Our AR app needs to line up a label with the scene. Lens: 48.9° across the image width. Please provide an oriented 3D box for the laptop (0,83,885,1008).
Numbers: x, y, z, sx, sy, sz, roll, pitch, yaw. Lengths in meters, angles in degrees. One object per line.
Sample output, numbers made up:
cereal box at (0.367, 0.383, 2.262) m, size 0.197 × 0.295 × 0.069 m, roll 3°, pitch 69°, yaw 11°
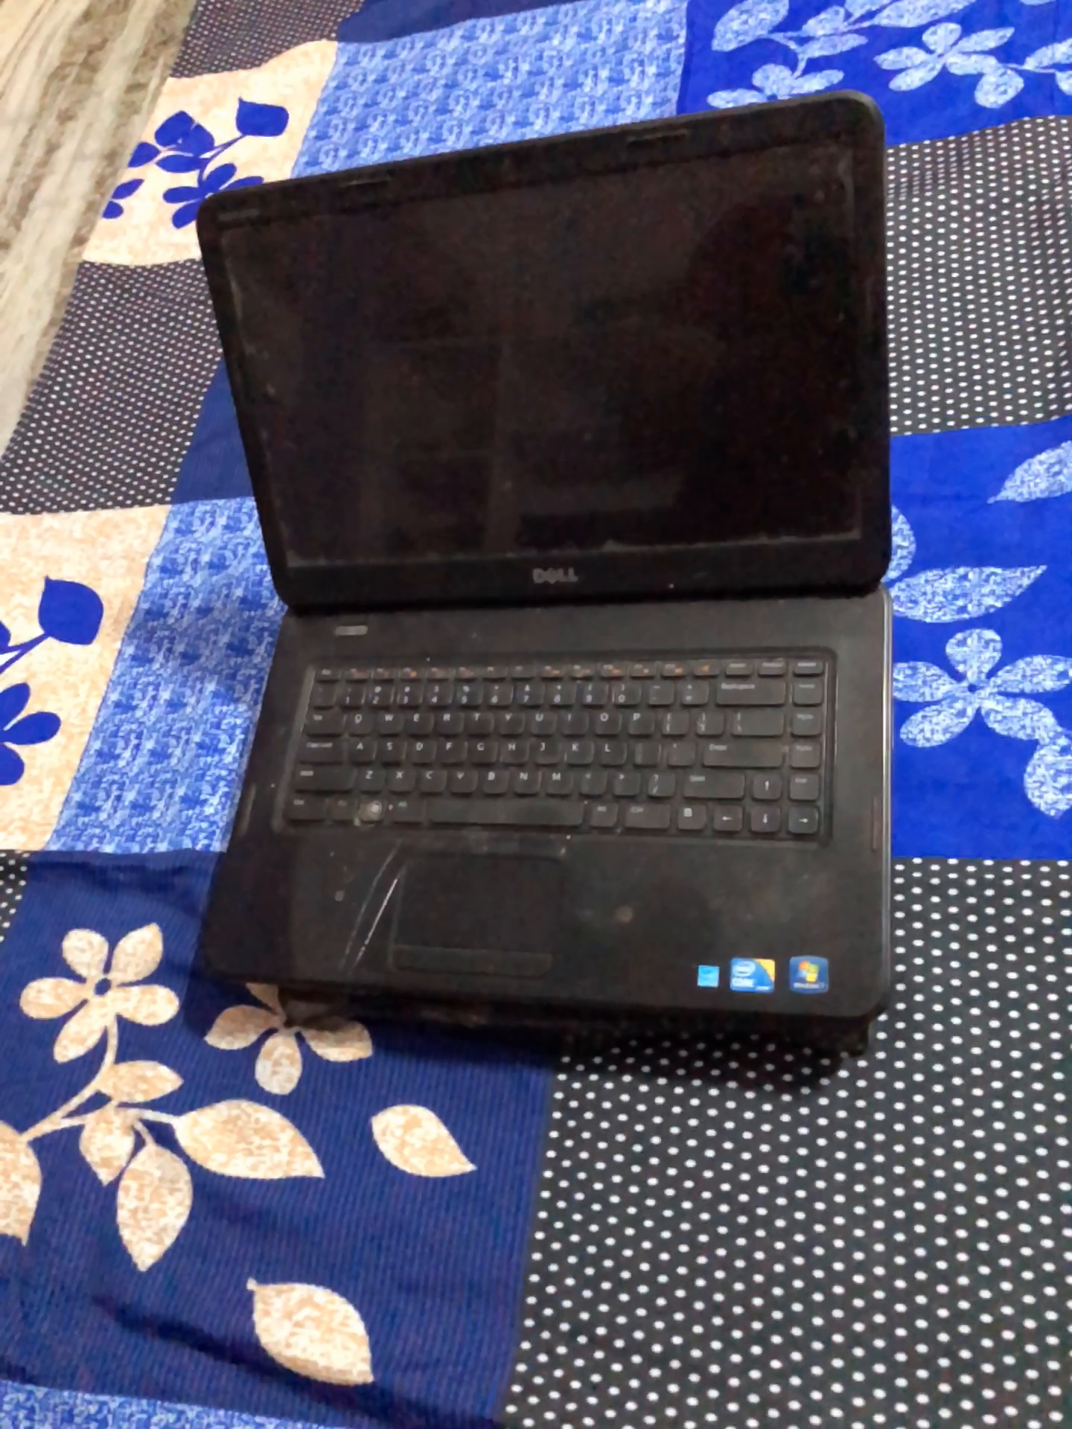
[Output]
laptop at (-0.010, -0.080, 0.610) m, size 0.363 × 0.187 × 0.390 m, roll -1°, pitch 62°, yaw 16°
